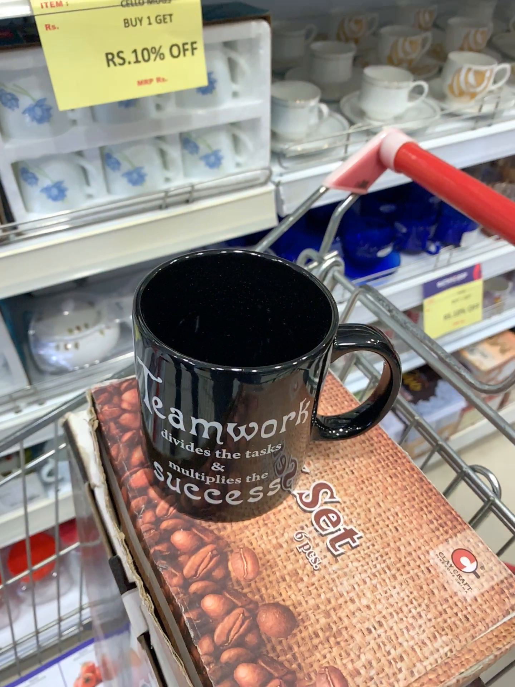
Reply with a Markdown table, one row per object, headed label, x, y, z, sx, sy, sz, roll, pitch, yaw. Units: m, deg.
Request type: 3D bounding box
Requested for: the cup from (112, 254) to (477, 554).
| label | x | y | z | sx | sy | sz | roll | pitch | yaw |
| --- | --- | --- | --- | --- | --- | --- | --- | --- | --- |
| cup | 0.006 | 0.030 | 0.236 | 0.120 | 0.100 | 0.080 | 4 | 44 | -7 |
